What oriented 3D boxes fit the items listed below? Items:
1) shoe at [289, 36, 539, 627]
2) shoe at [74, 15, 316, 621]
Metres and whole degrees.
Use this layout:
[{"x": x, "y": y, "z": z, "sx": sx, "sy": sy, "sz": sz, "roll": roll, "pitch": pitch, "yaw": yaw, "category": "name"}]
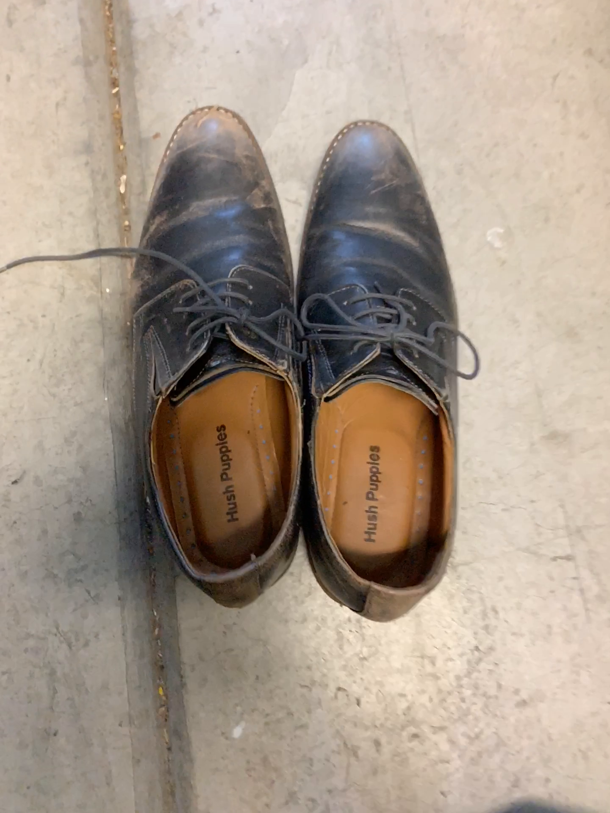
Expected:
[{"x": 0.048, "y": -0.040, "z": 0.375, "sx": 0.110, "sy": 0.120, "sz": 0.304, "roll": -1, "pitch": 80, "yaw": -2, "category": "shoe"}, {"x": -0.060, "y": -0.048, "z": 0.375, "sx": 0.110, "sy": 0.120, "sz": 0.310, "roll": -3, "pitch": 80, "yaw": -2, "category": "shoe"}]
